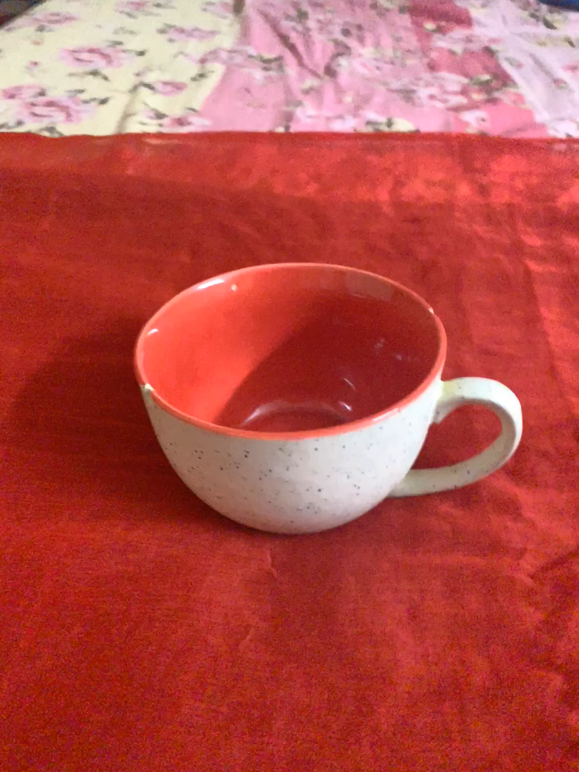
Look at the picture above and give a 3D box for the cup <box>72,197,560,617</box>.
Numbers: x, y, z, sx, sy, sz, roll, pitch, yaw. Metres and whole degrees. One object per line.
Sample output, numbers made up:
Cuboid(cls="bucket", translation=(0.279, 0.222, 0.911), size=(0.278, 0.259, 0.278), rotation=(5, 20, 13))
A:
Cuboid(cls="cup", translation=(0.021, -0.006, 0.236), size=(0.140, 0.069, 0.131), rotation=(-1, 41, 1))
